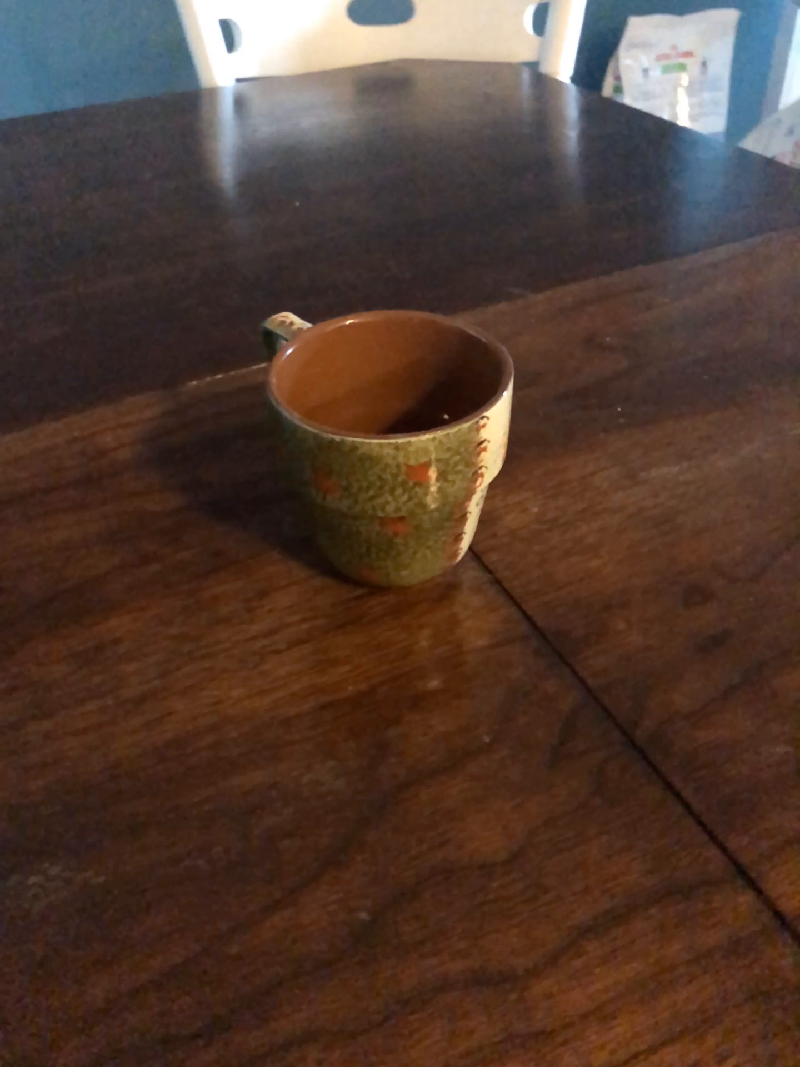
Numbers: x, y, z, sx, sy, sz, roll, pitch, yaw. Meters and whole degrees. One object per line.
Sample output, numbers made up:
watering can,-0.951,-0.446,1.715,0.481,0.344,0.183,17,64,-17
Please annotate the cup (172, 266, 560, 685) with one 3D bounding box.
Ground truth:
cup,-0.016,-0.032,0.394,0.100,0.110,0.130,-27,46,-27
